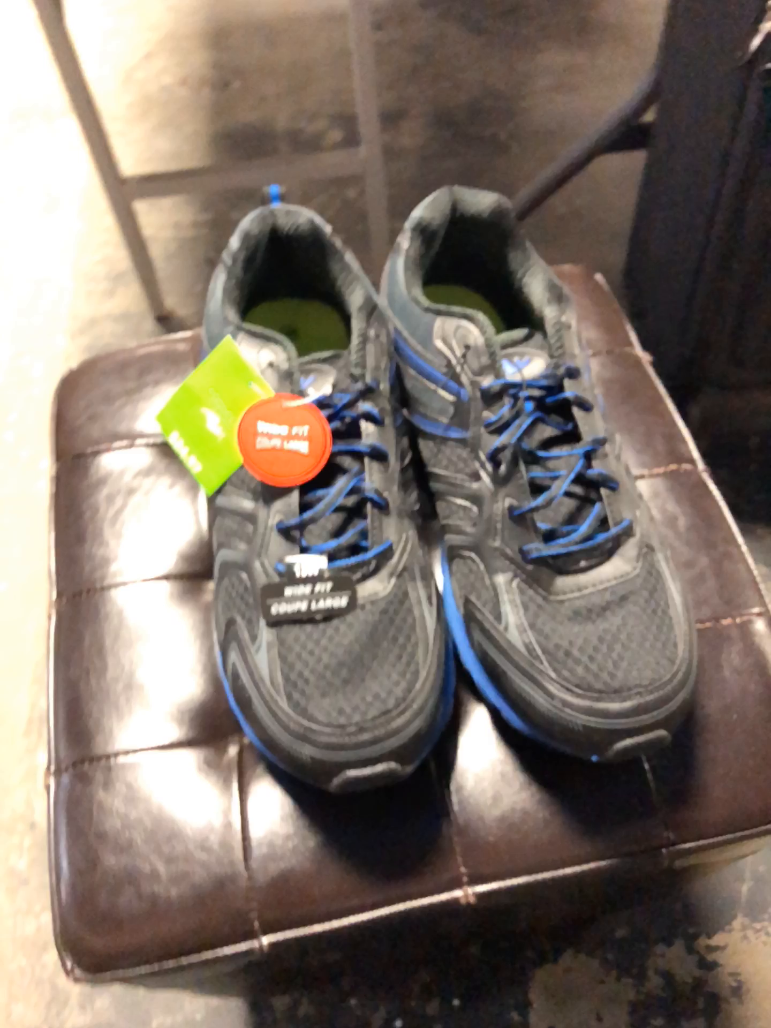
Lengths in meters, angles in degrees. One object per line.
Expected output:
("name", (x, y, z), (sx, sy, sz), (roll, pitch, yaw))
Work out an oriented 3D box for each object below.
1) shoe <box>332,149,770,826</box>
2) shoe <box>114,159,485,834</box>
("shoe", (0.074, -0.031, 0.423), (0.130, 0.099, 0.312), (-13, 58, -5))
("shoe", (-0.046, -0.019, 0.402), (0.120, 0.119, 0.282), (-9, 58, -2))
